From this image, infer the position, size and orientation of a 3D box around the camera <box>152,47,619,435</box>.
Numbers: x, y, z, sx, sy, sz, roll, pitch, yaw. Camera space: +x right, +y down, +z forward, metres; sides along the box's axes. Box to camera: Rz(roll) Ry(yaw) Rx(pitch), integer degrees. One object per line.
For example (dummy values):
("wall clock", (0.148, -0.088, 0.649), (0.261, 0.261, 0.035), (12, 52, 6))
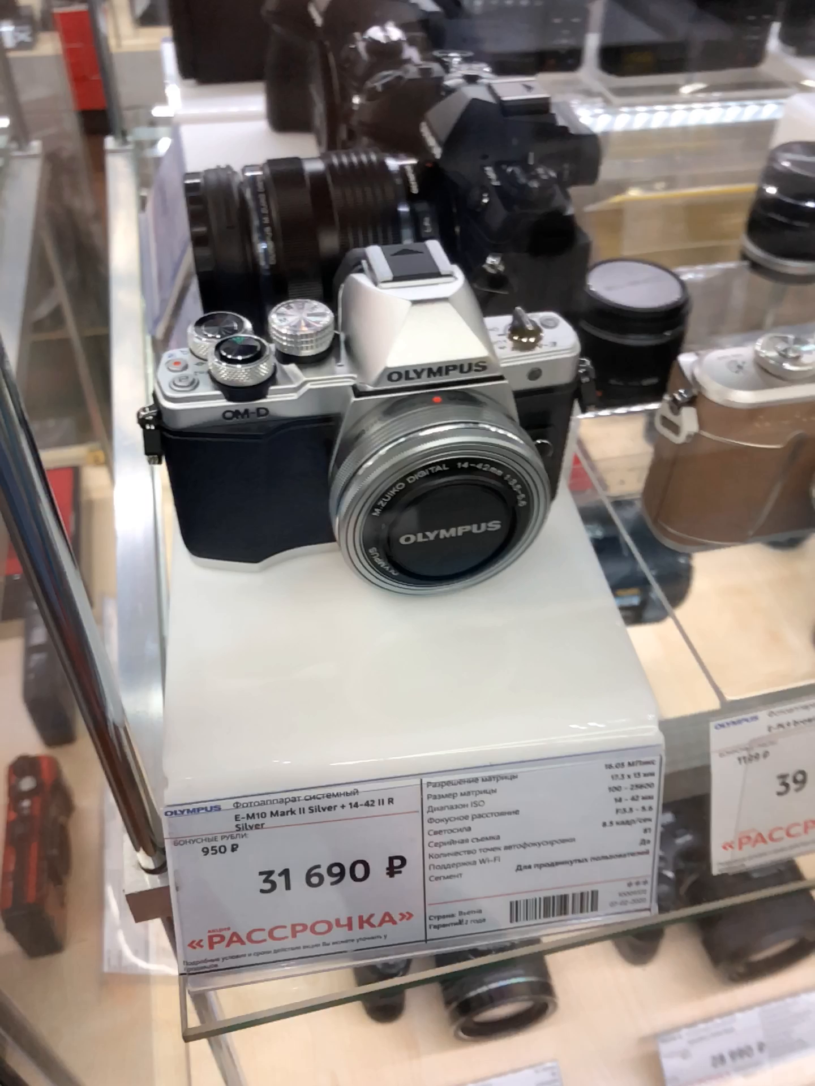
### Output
("camera", (-0.014, -0.113, 0.330), (0.137, 0.087, 0.102), (-8, 46, -10))

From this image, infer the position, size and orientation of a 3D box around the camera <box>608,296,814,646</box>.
("camera", (0.145, -0.025, 0.281), (0.139, 0.062, 0.065), (-9, 46, -11))

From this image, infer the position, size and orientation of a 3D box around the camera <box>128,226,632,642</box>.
("camera", (-0.012, -0.034, 0.268), (0.120, 0.080, 0.072), (-9, 46, -11))
